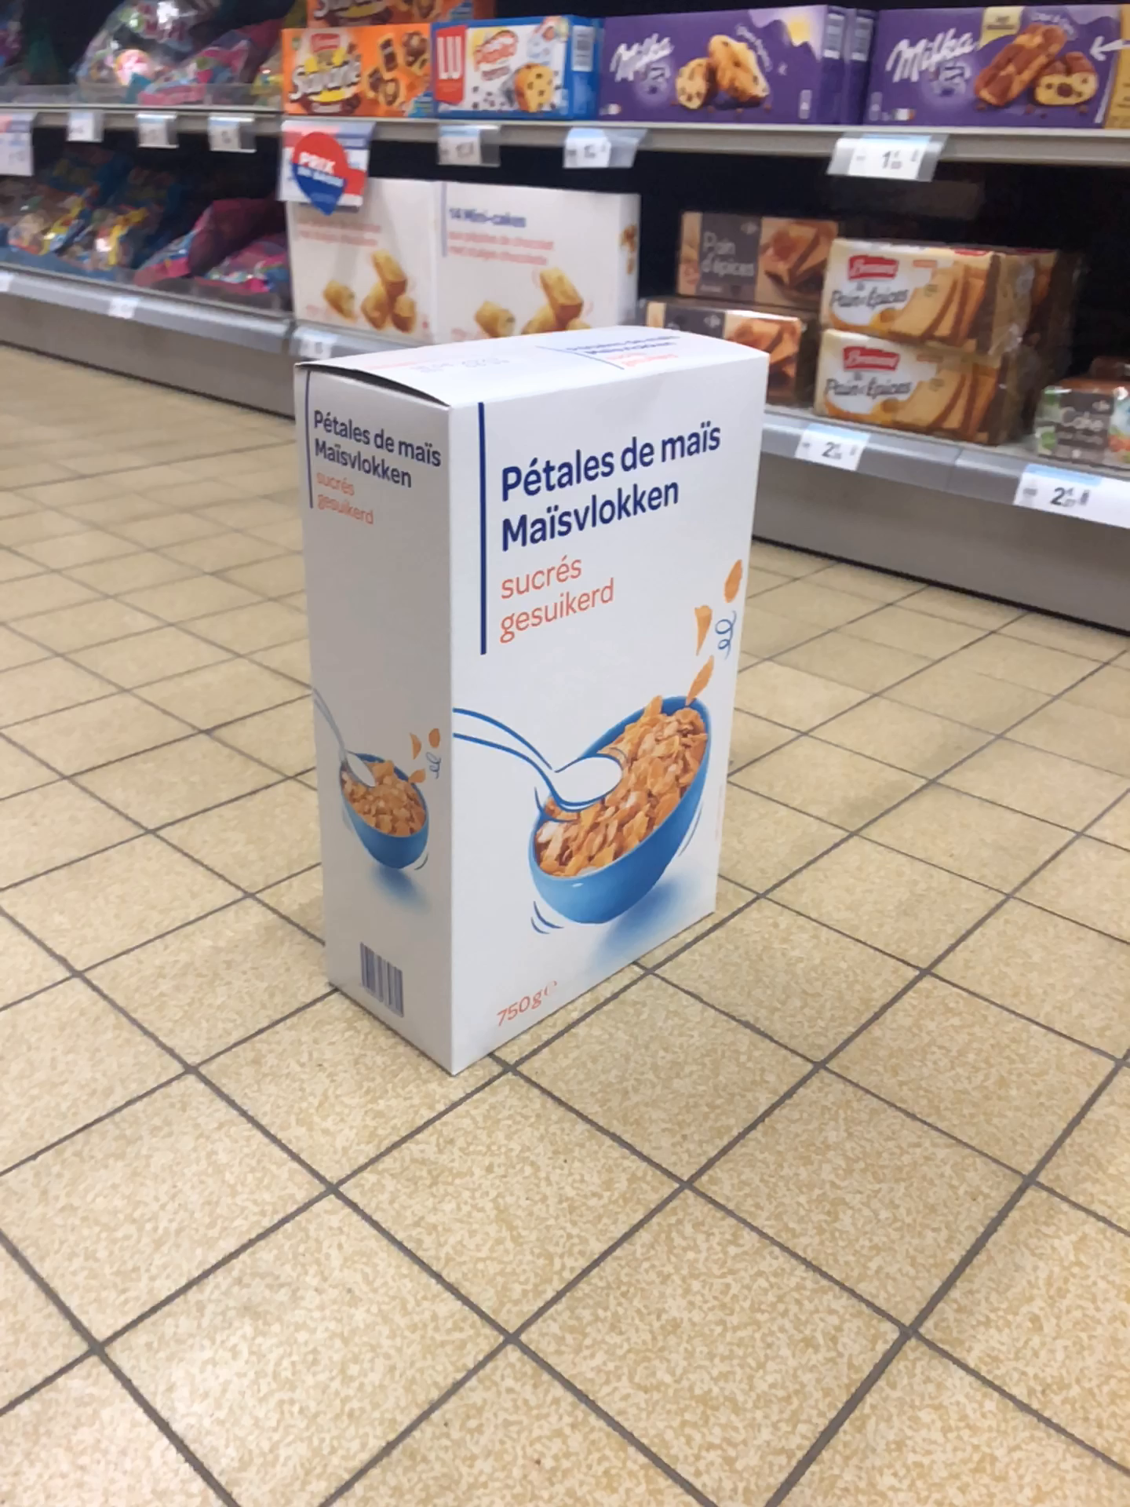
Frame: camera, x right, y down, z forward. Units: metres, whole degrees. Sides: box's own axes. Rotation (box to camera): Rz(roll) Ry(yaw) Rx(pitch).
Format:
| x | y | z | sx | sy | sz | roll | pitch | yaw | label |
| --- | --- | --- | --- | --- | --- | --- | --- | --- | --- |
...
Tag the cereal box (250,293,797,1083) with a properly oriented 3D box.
| x | y | z | sx | sy | sz | roll | pitch | yaw | label |
| --- | --- | --- | --- | --- | --- | --- | --- | --- | --- |
| -0.015 | -0.042 | 0.566 | 0.110 | 0.298 | 0.201 | 24 | 33 | 39 | cereal box |
